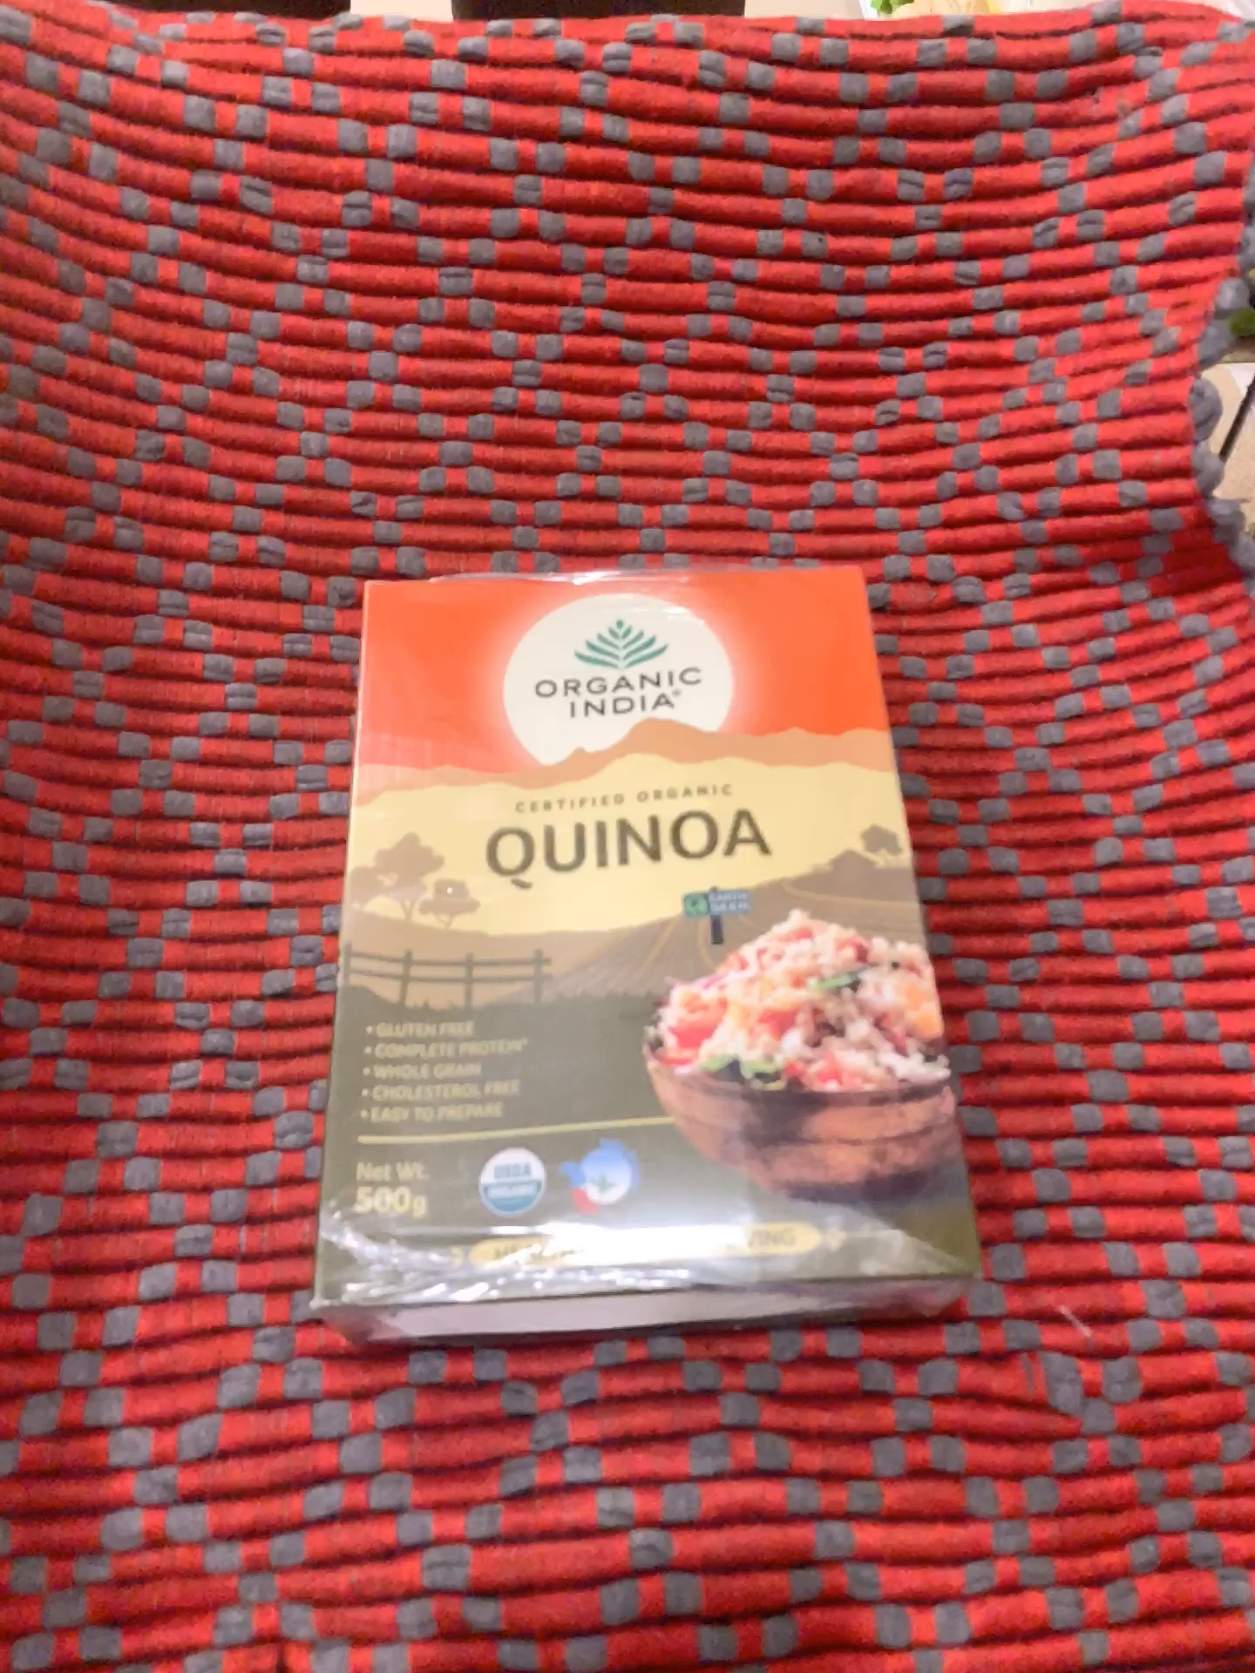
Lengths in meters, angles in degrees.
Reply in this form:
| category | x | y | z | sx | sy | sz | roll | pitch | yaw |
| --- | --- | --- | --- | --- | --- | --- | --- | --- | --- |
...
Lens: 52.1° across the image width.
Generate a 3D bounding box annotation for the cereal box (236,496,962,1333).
| category | x | y | z | sx | sy | sz | roll | pitch | yaw |
| --- | --- | --- | --- | --- | --- | --- | --- | --- | --- |
| cereal box | -0.008 | 0.014 | 0.303 | 0.130 | 0.070 | 0.180 | -2 | 62 | -1 |
